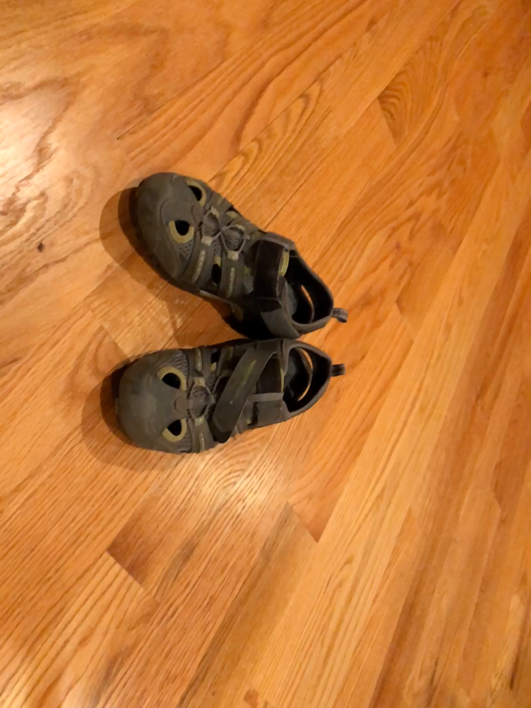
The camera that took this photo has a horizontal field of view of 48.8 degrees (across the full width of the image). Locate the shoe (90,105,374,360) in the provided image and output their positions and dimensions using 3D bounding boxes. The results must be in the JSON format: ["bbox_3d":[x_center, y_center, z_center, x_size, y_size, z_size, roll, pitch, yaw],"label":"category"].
[{"bbox_3d":[-0.015,-0.091,0.545,0.246,0.112,0.100,33,63,-43],"label":"shoe"}]

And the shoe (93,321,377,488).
[{"bbox_3d":[-0.013,0.033,0.535,0.246,0.112,0.100,-10,95,-50],"label":"shoe"}]
